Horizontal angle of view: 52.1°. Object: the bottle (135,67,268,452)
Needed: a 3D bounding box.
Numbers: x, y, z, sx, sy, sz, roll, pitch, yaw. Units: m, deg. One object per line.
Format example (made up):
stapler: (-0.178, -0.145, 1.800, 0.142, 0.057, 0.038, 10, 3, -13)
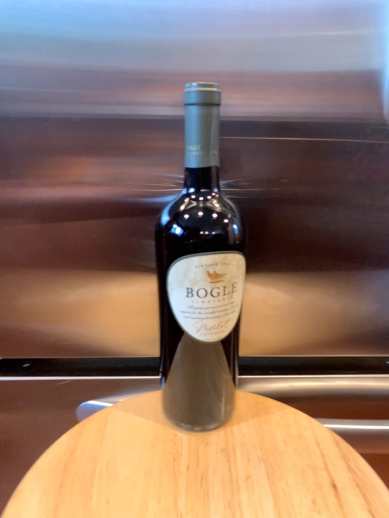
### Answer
bottle: (0.000, 0.008, 0.363, 0.080, 0.319, 0.080, 1, 18, 0)
